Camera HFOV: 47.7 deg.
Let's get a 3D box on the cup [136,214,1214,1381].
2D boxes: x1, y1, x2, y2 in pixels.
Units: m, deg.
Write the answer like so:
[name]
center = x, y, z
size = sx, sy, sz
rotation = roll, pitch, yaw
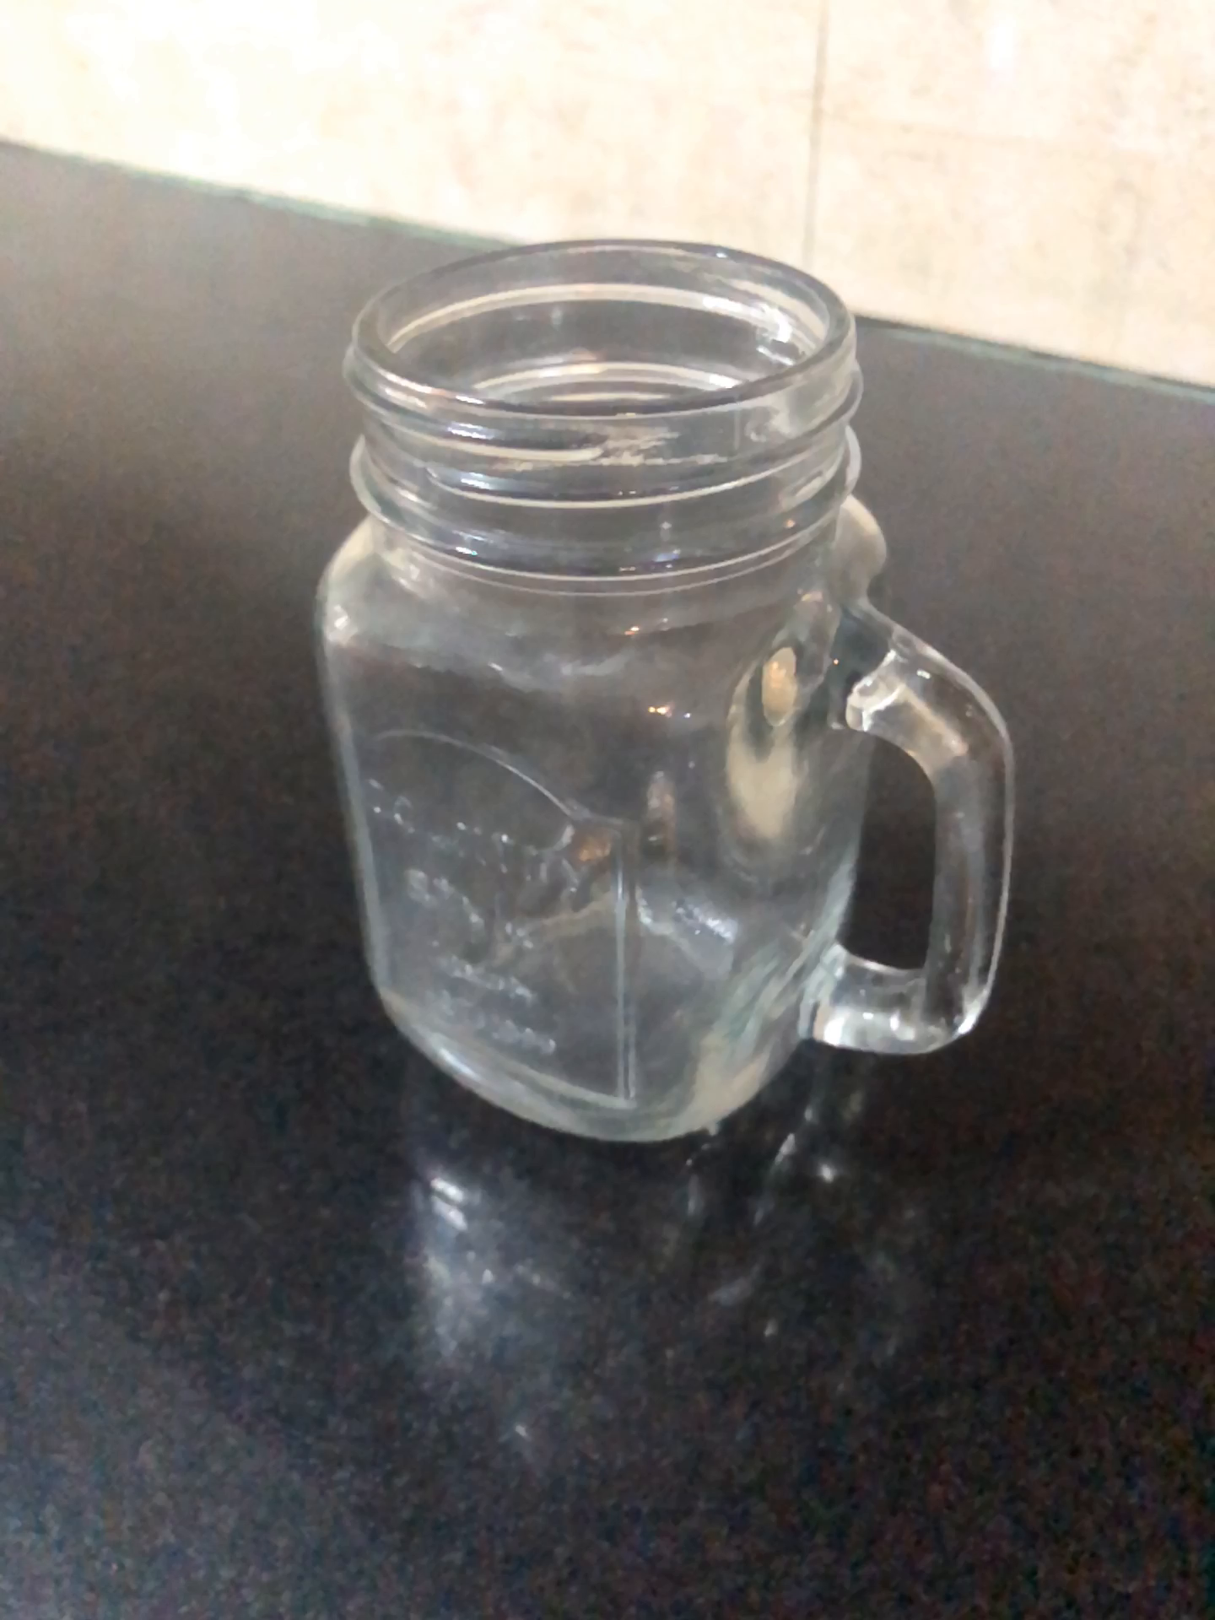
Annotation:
[cup]
center = 0.011, -0.007, 0.211
size = 0.110, 0.129, 0.080
rotation = 20, 42, 25
